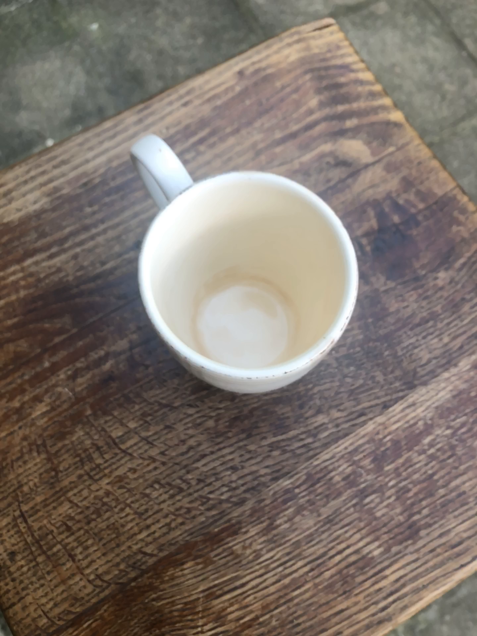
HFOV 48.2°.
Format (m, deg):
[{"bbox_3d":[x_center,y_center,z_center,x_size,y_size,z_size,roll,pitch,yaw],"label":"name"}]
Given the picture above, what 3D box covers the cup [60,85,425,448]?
[{"bbox_3d":[0.000,-0.017,0.250,0.087,0.078,0.124,-37,79,-8],"label":"cup"}]
